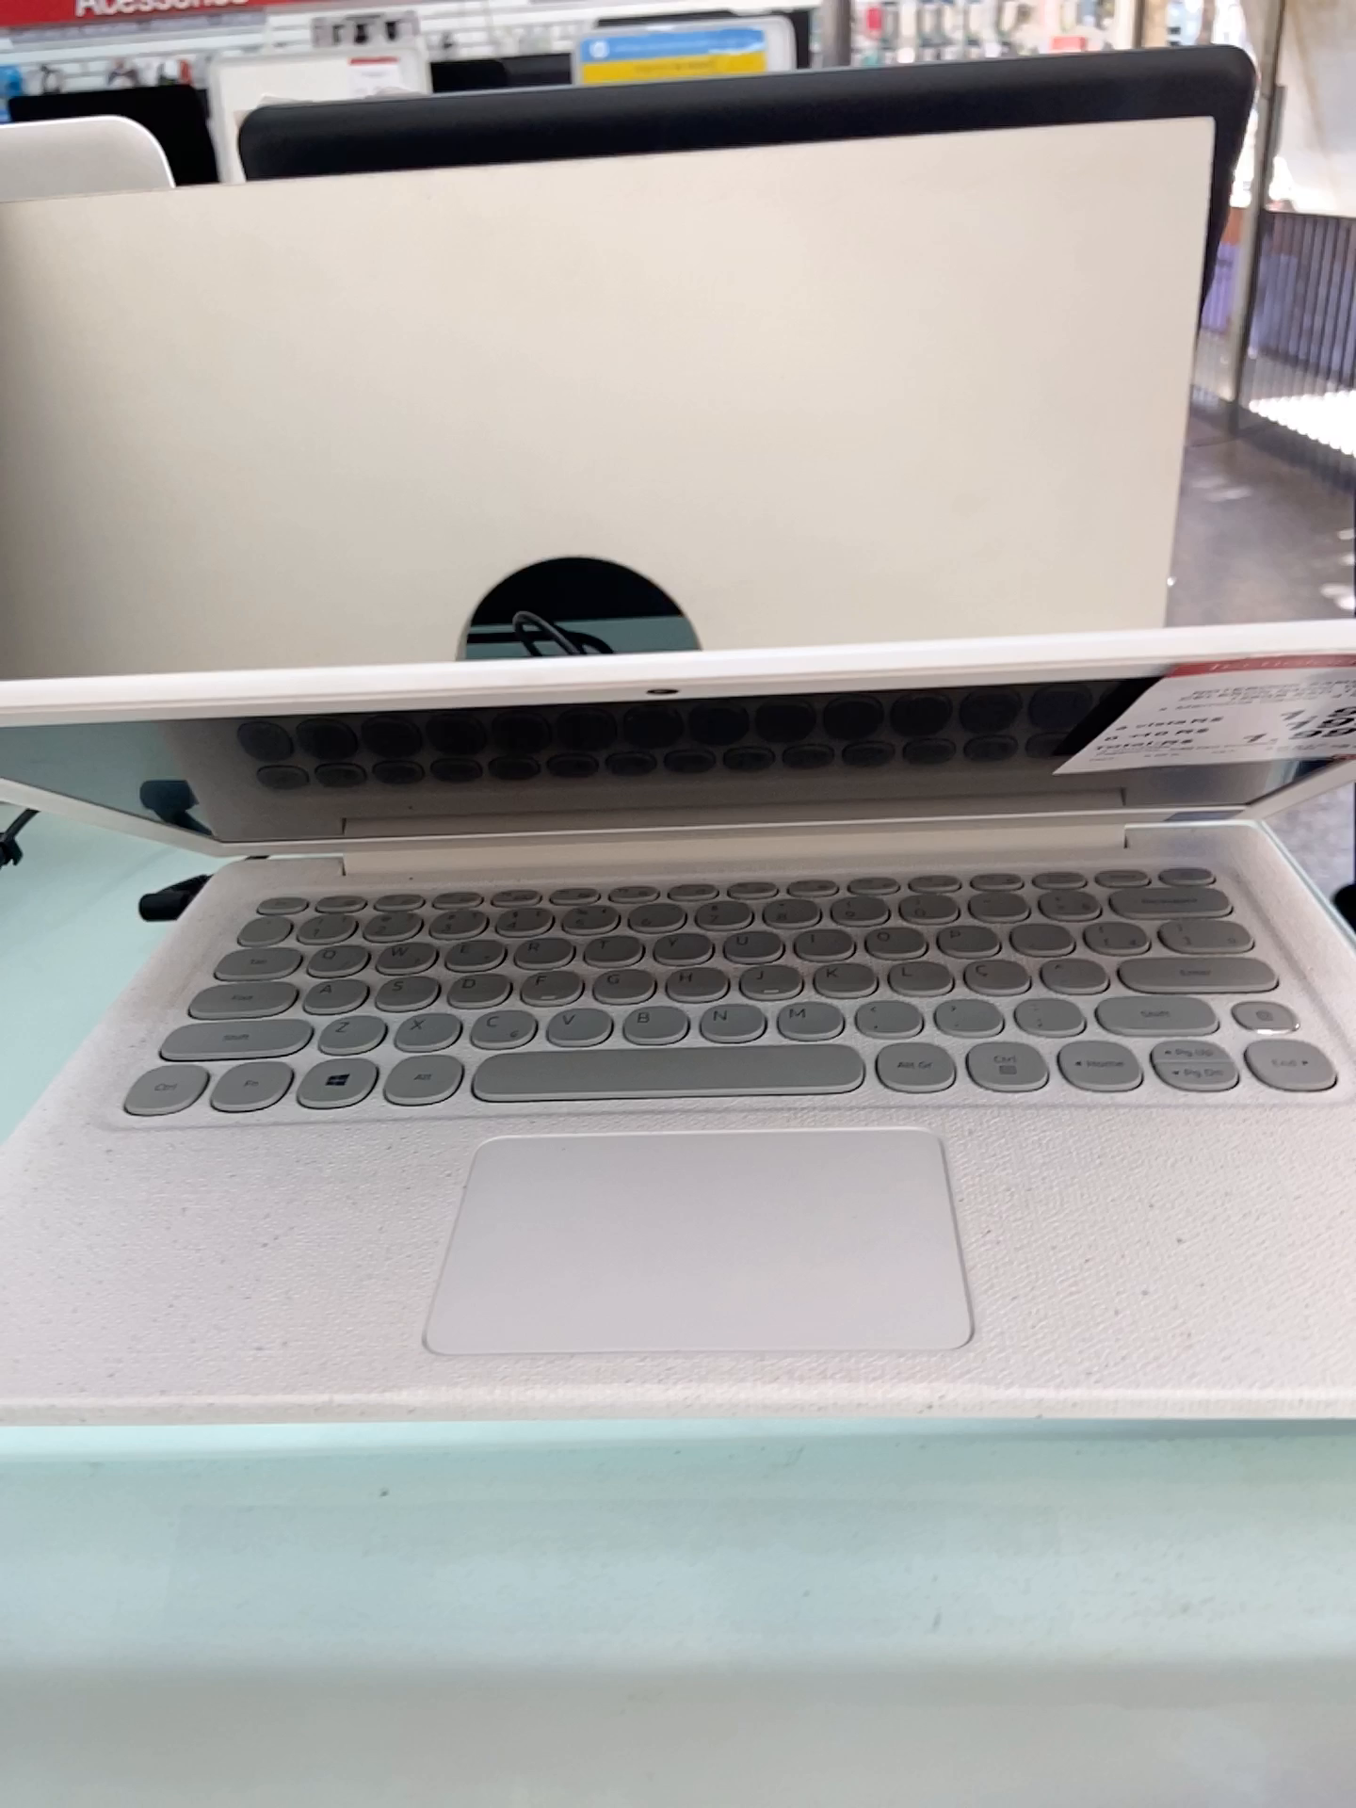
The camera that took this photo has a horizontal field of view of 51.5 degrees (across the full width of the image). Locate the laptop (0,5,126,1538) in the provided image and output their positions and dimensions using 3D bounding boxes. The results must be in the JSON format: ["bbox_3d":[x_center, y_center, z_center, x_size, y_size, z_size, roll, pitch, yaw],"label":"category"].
[{"bbox_3d":[-0.441,-0.072,0.368,0.400,0.213,0.375,-2,27,6],"label":"laptop"}]

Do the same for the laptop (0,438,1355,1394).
[{"bbox_3d":[0.003,-0.015,0.307,0.312,0.108,0.207,-3,28,5],"label":"laptop"}]
